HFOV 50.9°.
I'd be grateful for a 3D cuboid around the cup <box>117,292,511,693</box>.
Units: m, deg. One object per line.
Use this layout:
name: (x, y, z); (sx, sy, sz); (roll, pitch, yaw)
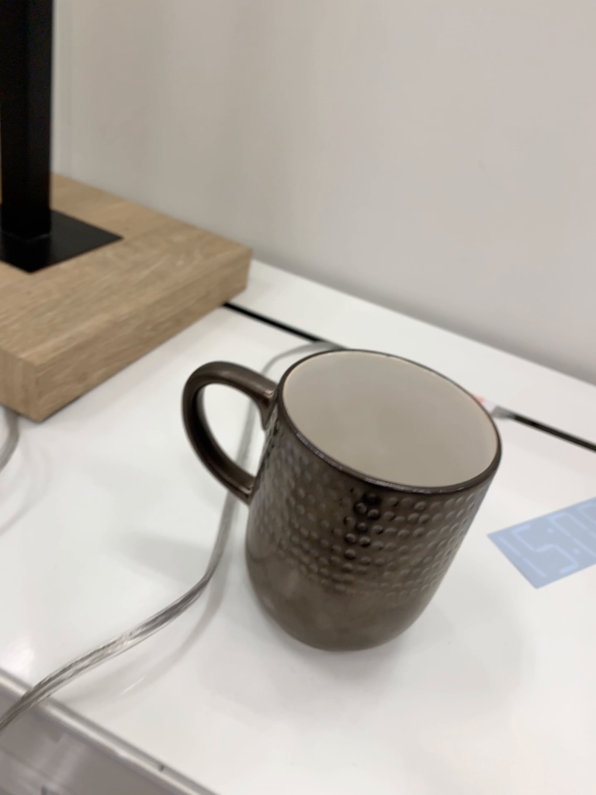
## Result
cup: (0.008, 0.034, 0.270); (0.131, 0.093, 0.095); (20, 35, 9)
